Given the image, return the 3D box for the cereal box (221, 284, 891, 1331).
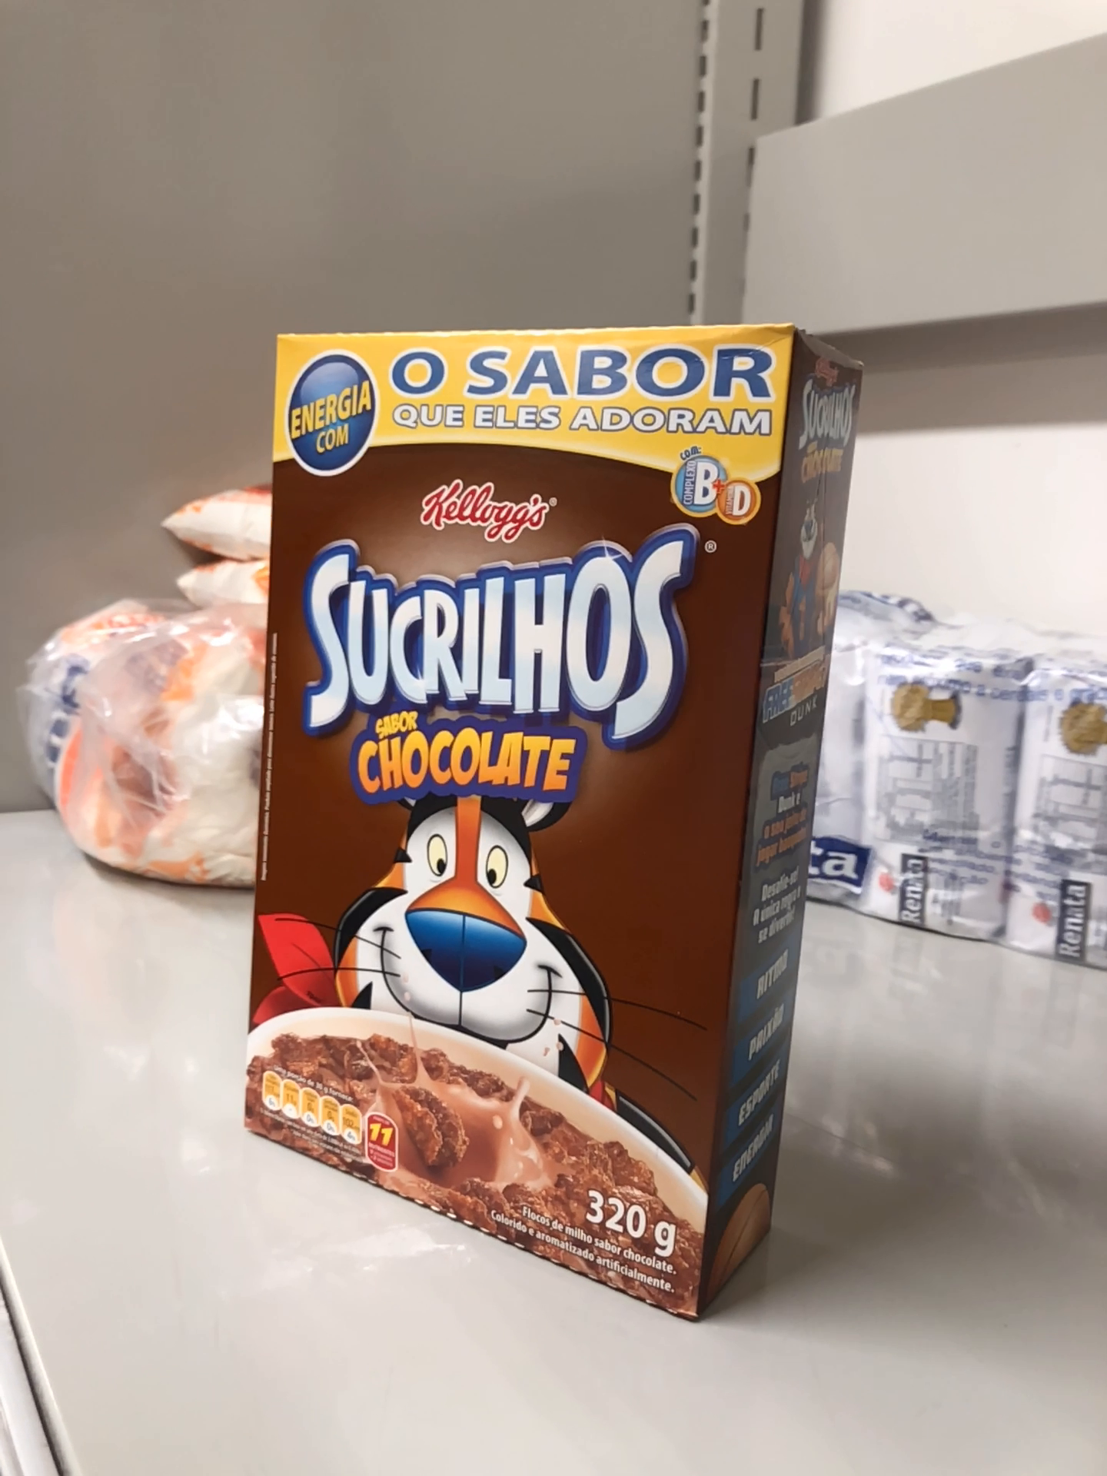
[{"bbox_3d":[-0.008,0.009,0.383,0.180,0.269,0.070,9,10,29],"label":"cereal box"}]
